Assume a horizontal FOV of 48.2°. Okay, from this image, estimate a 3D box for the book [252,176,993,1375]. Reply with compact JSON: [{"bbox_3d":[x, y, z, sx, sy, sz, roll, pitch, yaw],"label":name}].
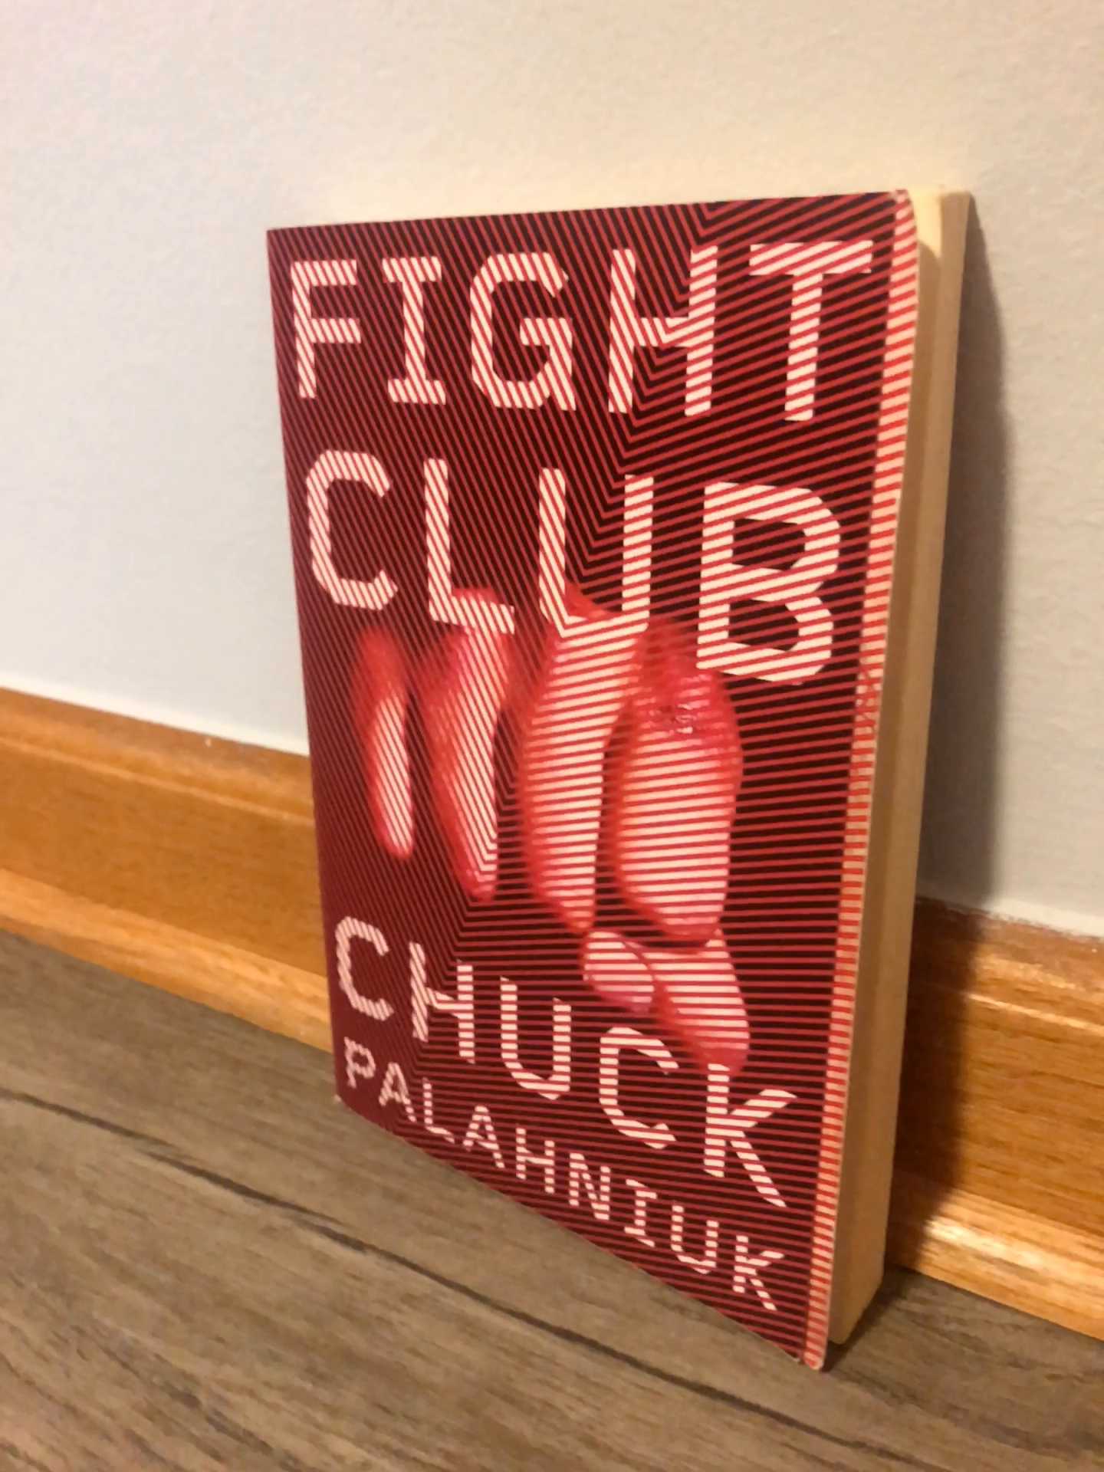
[{"bbox_3d":[0.005,0.005,0.253,0.138,0.210,0.030,14,24,35],"label":"book"}]
